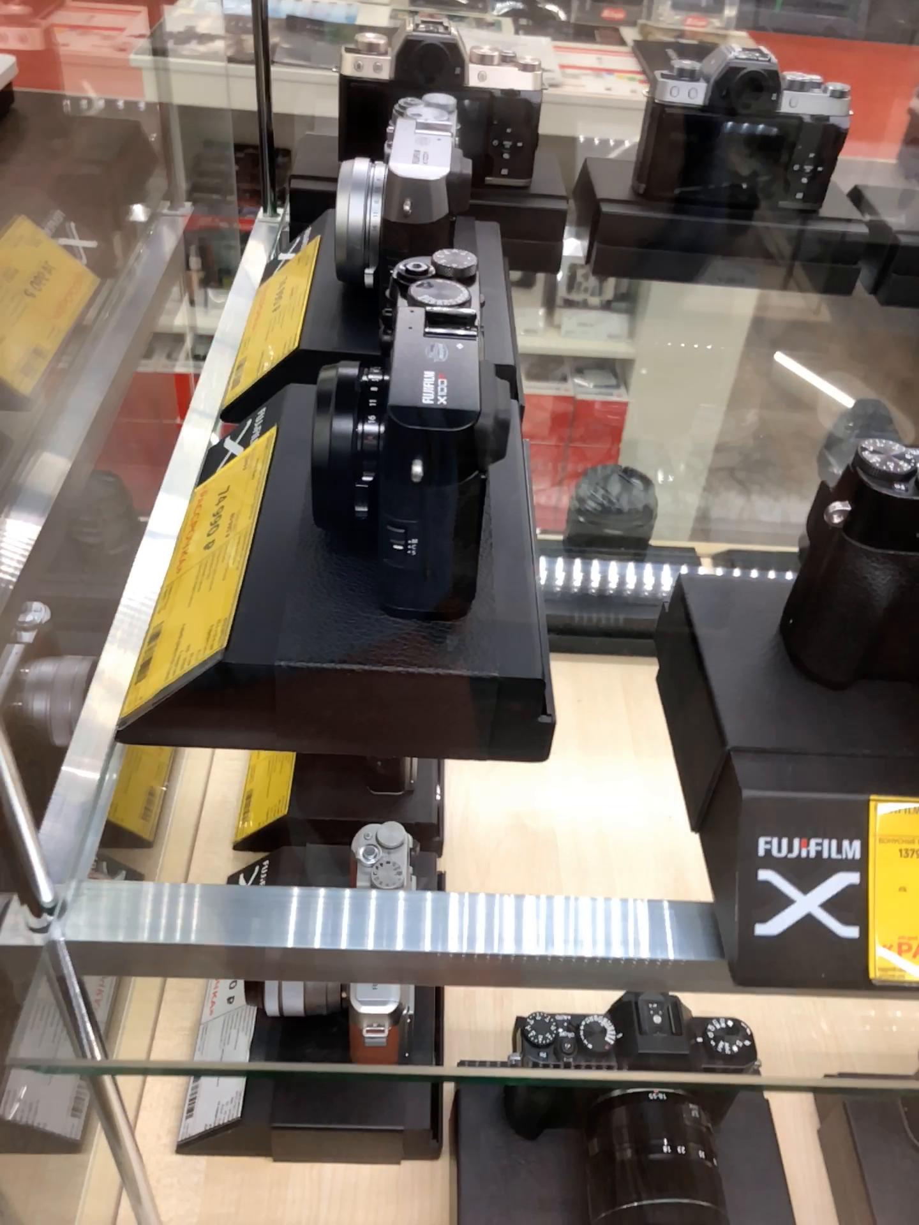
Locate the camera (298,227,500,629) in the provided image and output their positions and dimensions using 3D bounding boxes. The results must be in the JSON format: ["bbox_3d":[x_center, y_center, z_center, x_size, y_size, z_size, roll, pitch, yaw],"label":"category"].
[{"bbox_3d":[-0.020,-0.068,0.347,0.054,0.075,0.131,3,41,-4],"label":"camera"}]

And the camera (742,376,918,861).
[{"bbox_3d":[0.165,0.000,0.285,0.130,0.080,0.104,3,41,-4],"label":"camera"}]

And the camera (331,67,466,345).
[{"bbox_3d":[-0.029,-0.198,0.486,0.054,0.080,0.131,3,41,-4],"label":"camera"}]
